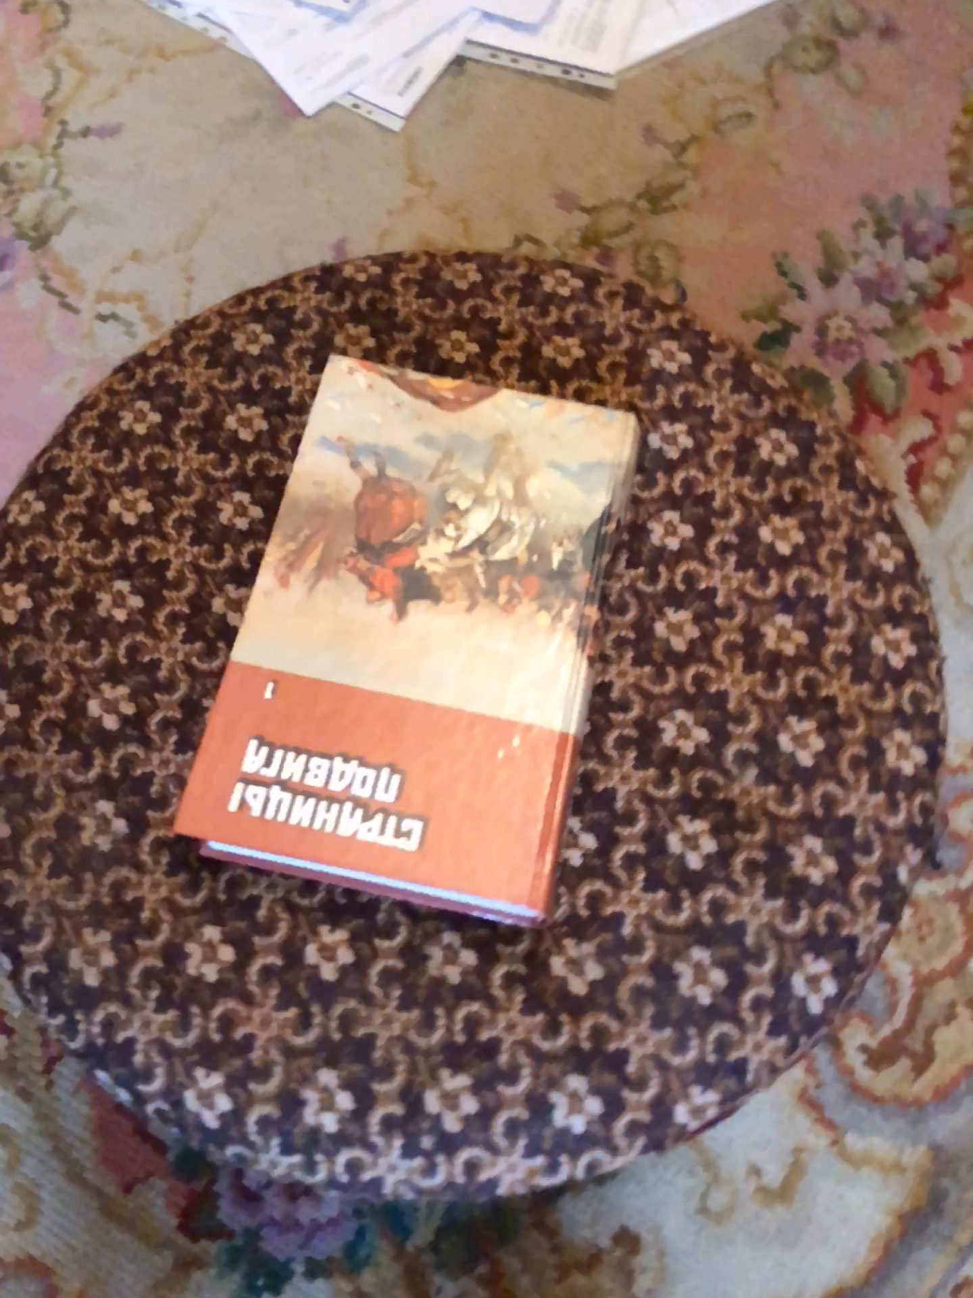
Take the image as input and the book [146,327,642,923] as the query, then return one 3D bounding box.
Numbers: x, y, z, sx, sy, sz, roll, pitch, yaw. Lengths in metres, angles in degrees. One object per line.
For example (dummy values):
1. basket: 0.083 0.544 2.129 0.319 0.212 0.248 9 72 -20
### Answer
1. book: -0.026 -0.016 0.407 0.134 0.040 0.206 12 68 3
